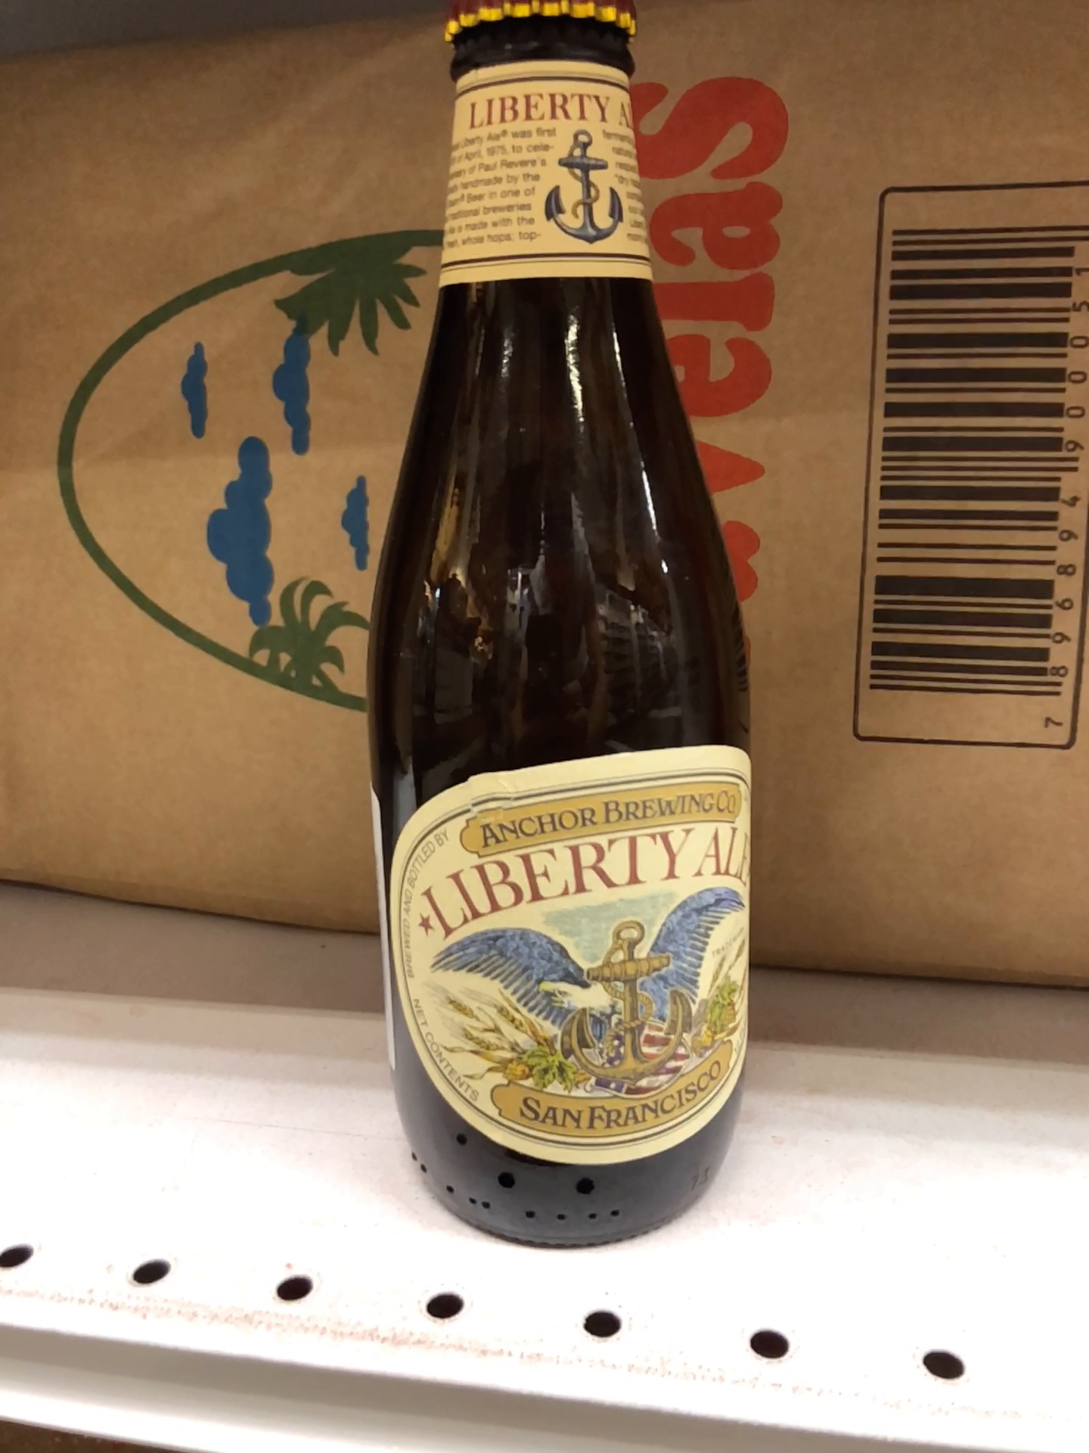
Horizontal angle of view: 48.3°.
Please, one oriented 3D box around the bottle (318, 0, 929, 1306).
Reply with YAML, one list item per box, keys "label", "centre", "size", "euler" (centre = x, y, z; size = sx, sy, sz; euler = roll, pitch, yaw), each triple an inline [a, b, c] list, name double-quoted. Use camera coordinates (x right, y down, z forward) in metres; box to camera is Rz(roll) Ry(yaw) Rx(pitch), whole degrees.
- label: "bottle"
  centre: [0.007, -0.018, 0.198]
  size: [0.070, 0.189, 0.070]
  euler: [-1, 14, 0]
